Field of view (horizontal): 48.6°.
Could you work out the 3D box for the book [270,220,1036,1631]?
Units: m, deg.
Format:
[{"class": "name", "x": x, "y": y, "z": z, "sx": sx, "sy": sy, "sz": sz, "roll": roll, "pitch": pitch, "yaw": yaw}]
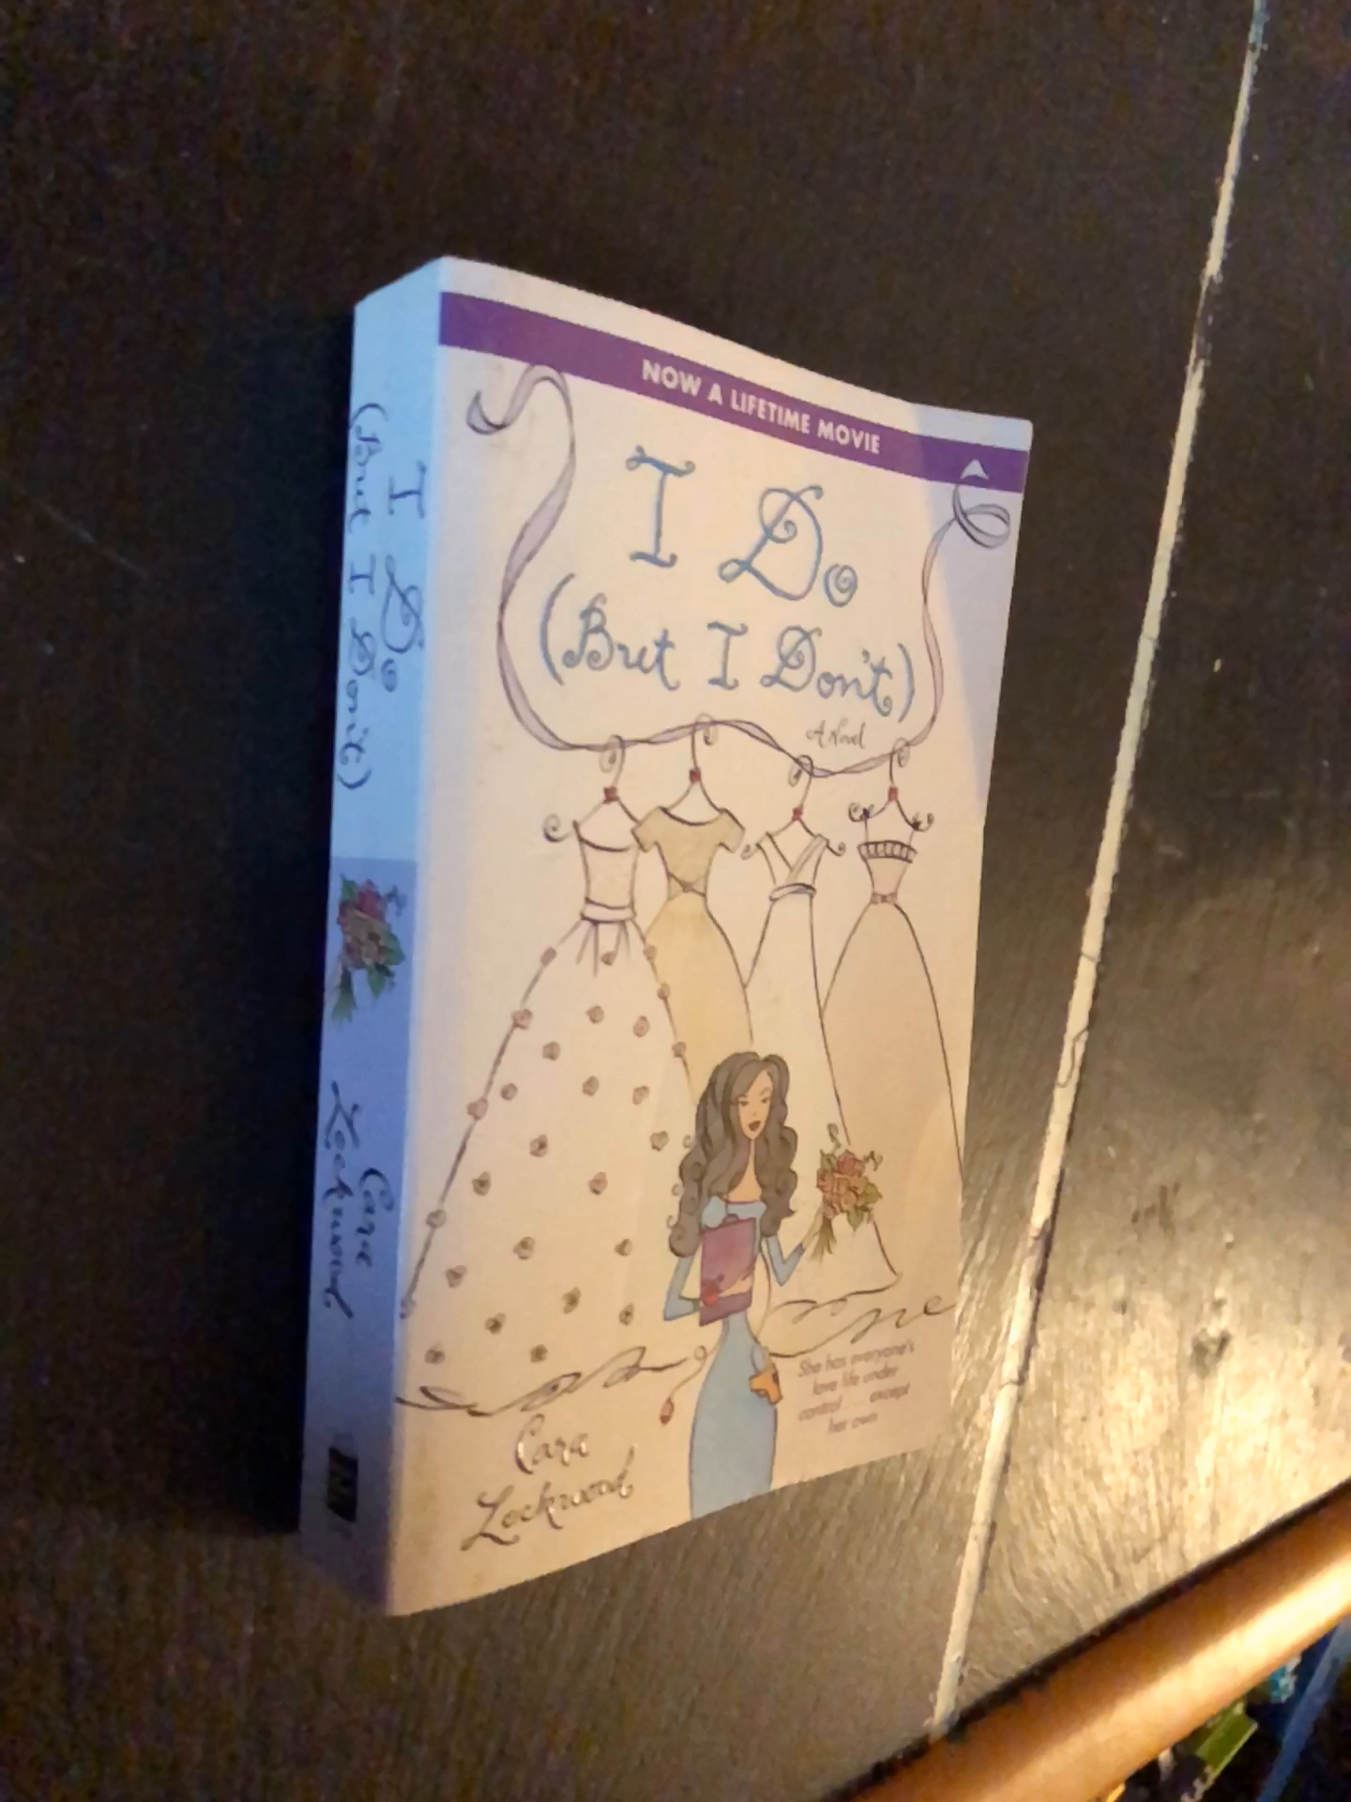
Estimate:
[{"class": "book", "x": 0.002, "y": 0.004, "z": 0.222, "sx": 0.111, "sy": 0.032, "sz": 0.164, "roll": 2, "pitch": 92, "yaw": -41}]
